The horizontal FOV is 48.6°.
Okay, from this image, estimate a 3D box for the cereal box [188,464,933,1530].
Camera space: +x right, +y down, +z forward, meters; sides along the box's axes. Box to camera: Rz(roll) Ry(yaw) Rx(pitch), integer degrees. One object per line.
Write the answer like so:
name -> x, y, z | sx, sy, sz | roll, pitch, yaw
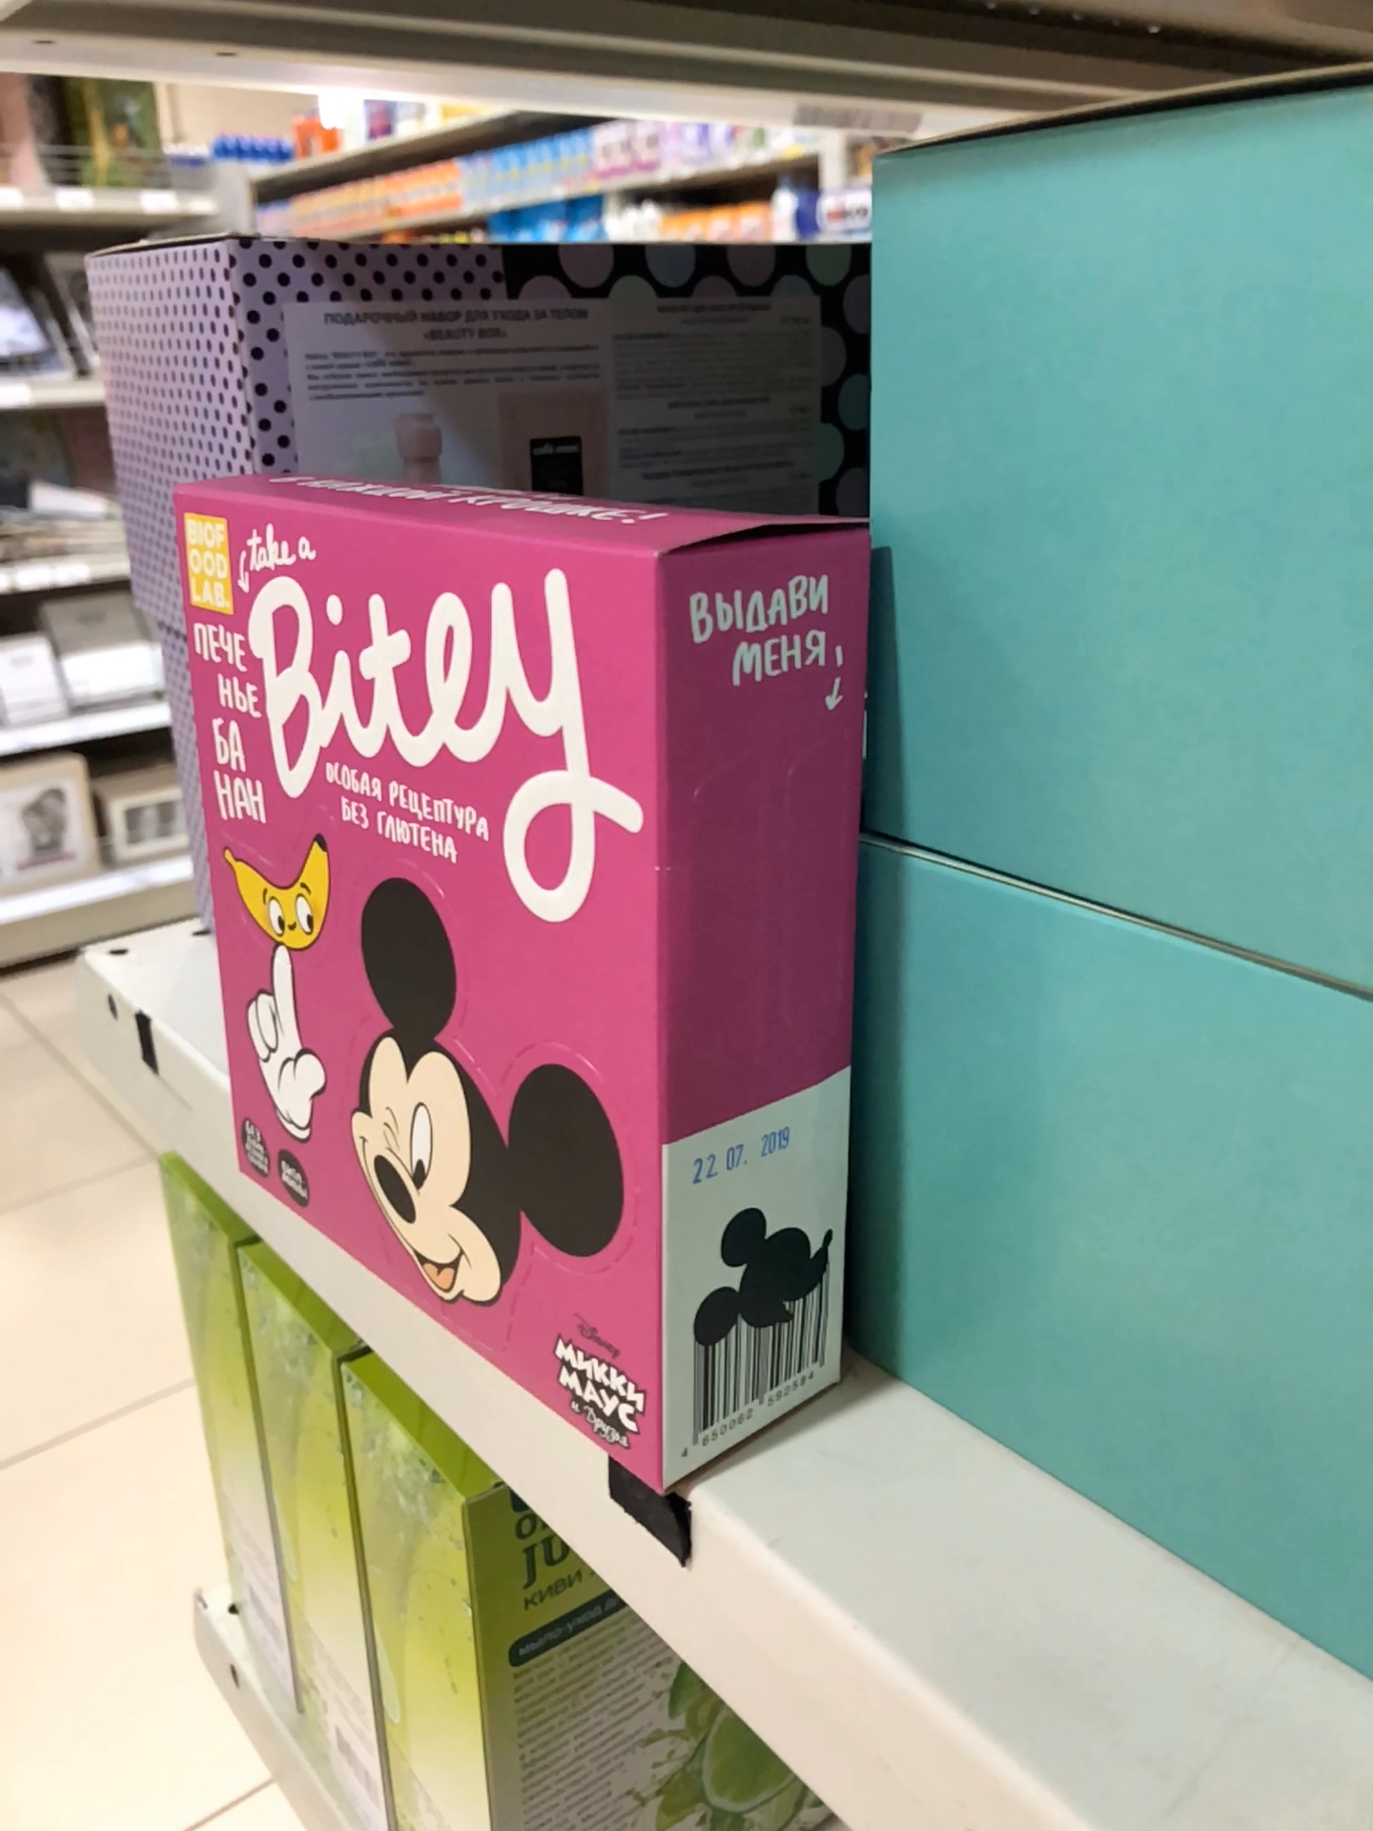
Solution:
cereal box -> -0.029, 0.002, 0.270 | 0.040, 0.149, 0.140 | -18, 27, -41
